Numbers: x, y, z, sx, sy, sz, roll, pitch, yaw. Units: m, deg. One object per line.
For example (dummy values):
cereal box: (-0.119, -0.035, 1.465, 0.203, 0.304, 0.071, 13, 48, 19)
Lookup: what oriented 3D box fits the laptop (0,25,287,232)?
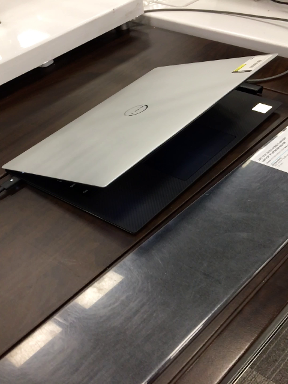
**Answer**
laptop: (0.002, -0.098, 0.483, 0.195, 0.075, 0.288, 33, 62, 28)
